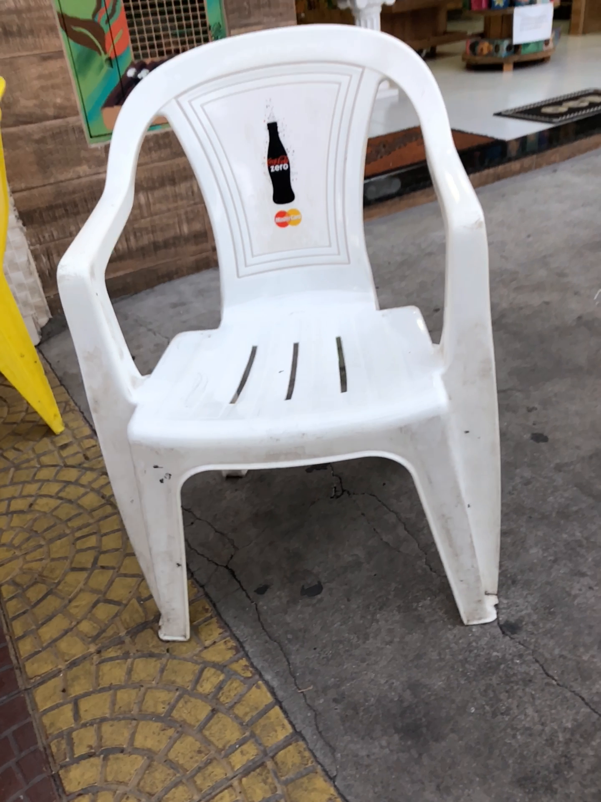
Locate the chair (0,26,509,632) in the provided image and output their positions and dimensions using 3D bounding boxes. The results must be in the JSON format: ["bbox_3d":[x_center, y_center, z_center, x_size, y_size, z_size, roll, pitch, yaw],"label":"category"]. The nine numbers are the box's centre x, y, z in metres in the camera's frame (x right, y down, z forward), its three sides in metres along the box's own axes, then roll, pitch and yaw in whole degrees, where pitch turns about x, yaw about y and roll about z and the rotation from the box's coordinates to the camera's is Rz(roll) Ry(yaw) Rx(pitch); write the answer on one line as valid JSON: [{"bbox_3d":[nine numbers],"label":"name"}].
[{"bbox_3d":[-0.082,-0.118,1.053,0.640,0.744,0.554,-3,32,5],"label":"chair"}]
